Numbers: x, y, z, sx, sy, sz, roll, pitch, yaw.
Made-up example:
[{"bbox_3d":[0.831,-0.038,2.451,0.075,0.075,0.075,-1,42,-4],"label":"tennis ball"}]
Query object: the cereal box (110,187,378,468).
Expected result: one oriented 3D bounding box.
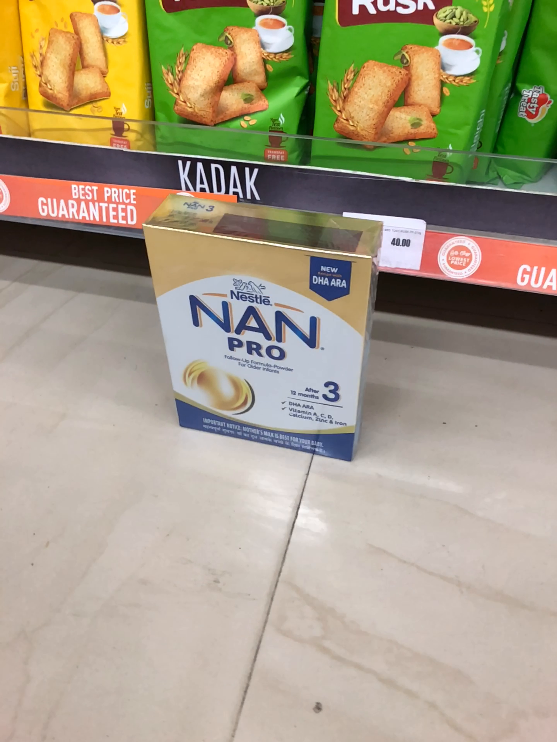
[{"bbox_3d":[-0.020,-0.025,0.447,0.160,0.189,0.050,10,42,12],"label":"cereal box"}]
